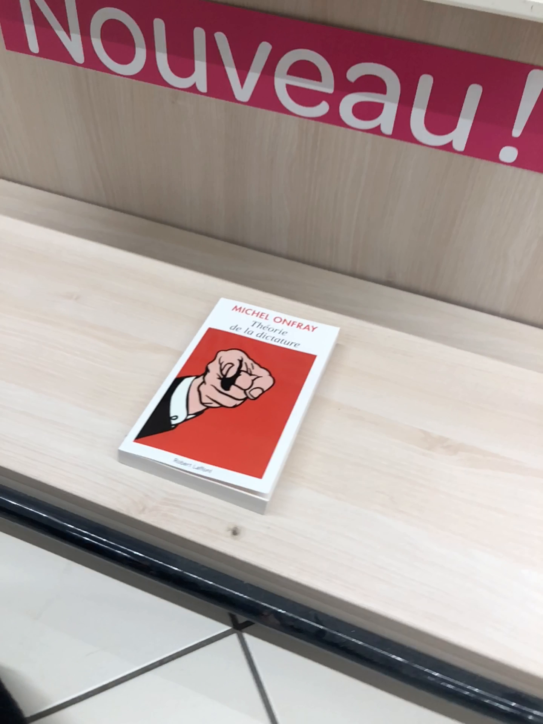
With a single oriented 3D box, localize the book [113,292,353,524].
[{"bbox_3d":[-0.023,0.026,0.532,0.138,0.029,0.208,17,46,12],"label":"book"}]
